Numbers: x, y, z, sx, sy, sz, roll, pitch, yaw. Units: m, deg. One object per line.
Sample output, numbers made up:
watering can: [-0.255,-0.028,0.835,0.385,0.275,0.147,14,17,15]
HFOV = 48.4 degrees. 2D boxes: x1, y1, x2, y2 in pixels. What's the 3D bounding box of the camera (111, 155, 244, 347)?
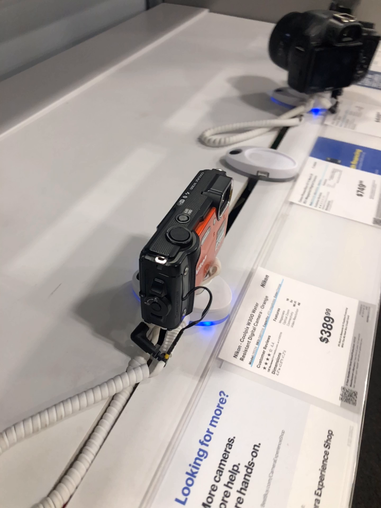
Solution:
camera: [-0.004,-0.008,0.285,0.040,0.060,0.121,16,44,14]
